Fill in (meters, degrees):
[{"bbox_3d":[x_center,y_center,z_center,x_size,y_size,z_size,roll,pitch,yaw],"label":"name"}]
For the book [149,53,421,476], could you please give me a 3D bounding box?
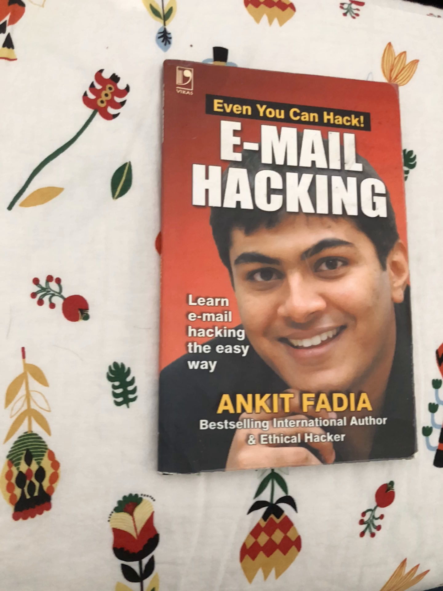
[{"bbox_3d":[0.033,-0.017,0.260,0.138,0.020,0.204,1,84,-11],"label":"book"}]
